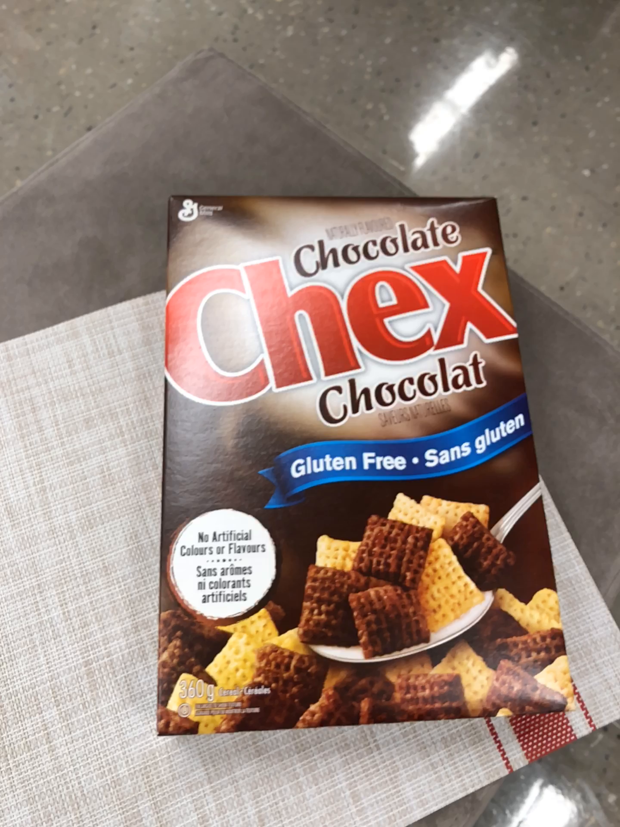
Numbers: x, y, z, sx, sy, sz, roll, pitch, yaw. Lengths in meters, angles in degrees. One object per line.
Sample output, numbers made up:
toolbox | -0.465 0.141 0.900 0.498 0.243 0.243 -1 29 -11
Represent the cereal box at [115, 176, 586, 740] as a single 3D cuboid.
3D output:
cereal box | 0.012 0.009 0.377 0.210 0.050 0.290 -1 71 -5
